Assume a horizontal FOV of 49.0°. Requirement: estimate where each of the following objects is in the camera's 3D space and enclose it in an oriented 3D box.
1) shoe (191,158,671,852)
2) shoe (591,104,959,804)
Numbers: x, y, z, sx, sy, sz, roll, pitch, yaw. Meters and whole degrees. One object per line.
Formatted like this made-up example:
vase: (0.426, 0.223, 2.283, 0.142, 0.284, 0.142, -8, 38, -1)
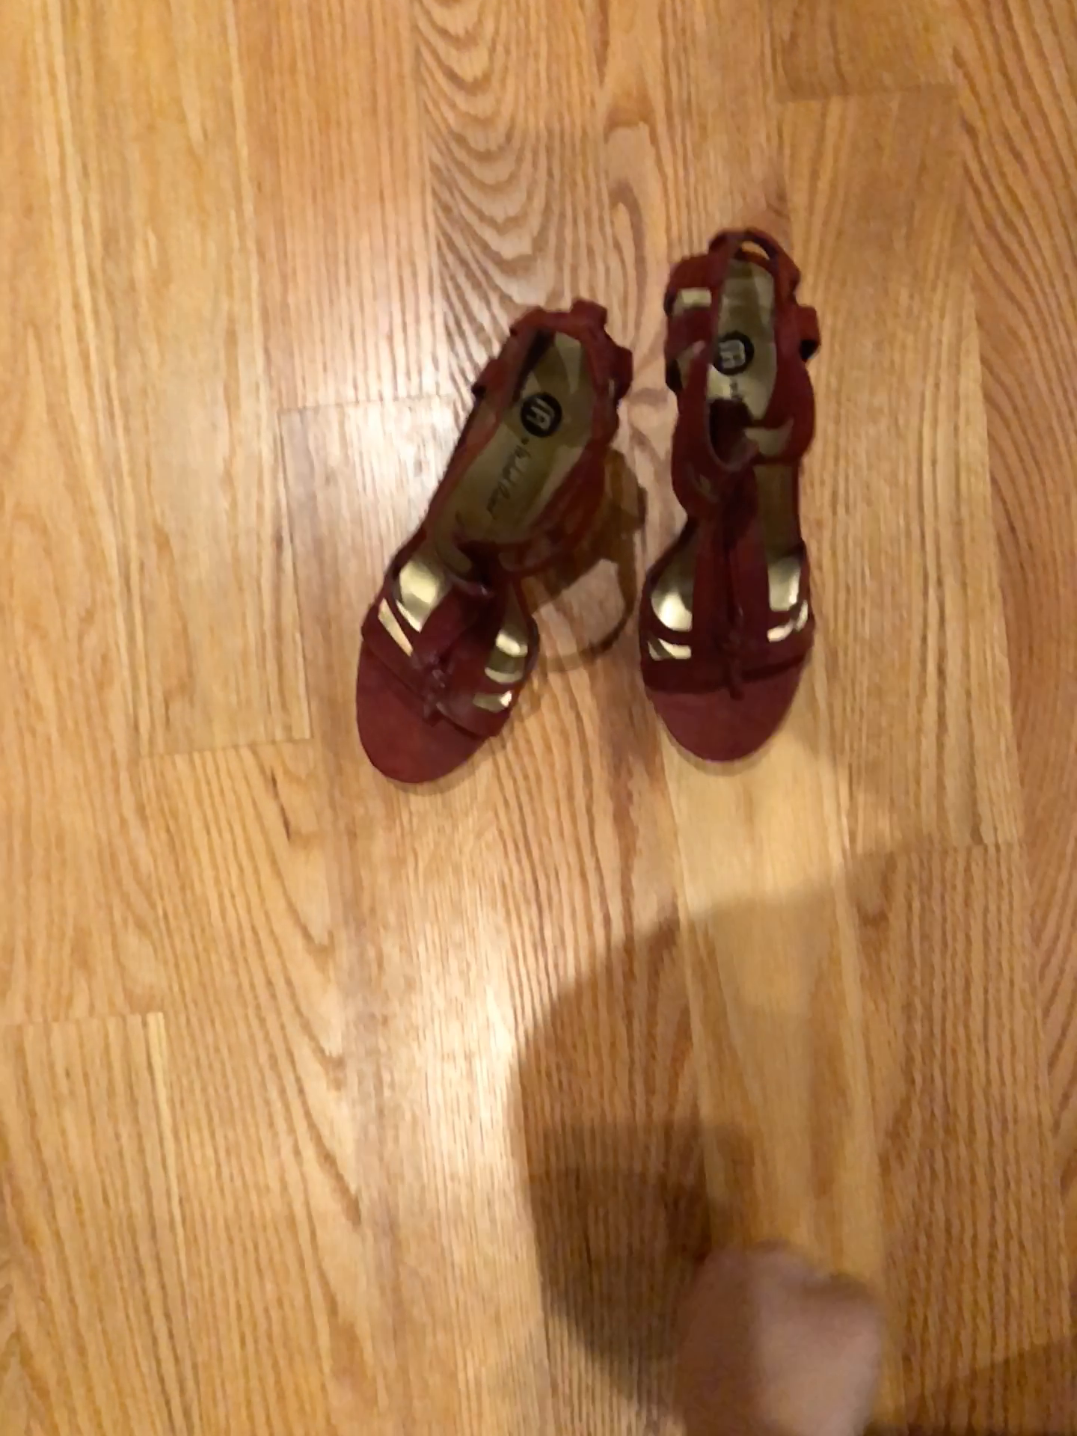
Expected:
shoe: (-0.032, -0.067, 0.456, 0.085, 0.176, 0.199, 21, 91, 1)
shoe: (0.076, -0.081, 0.450, 0.085, 0.176, 0.206, -6, 90, 1)
